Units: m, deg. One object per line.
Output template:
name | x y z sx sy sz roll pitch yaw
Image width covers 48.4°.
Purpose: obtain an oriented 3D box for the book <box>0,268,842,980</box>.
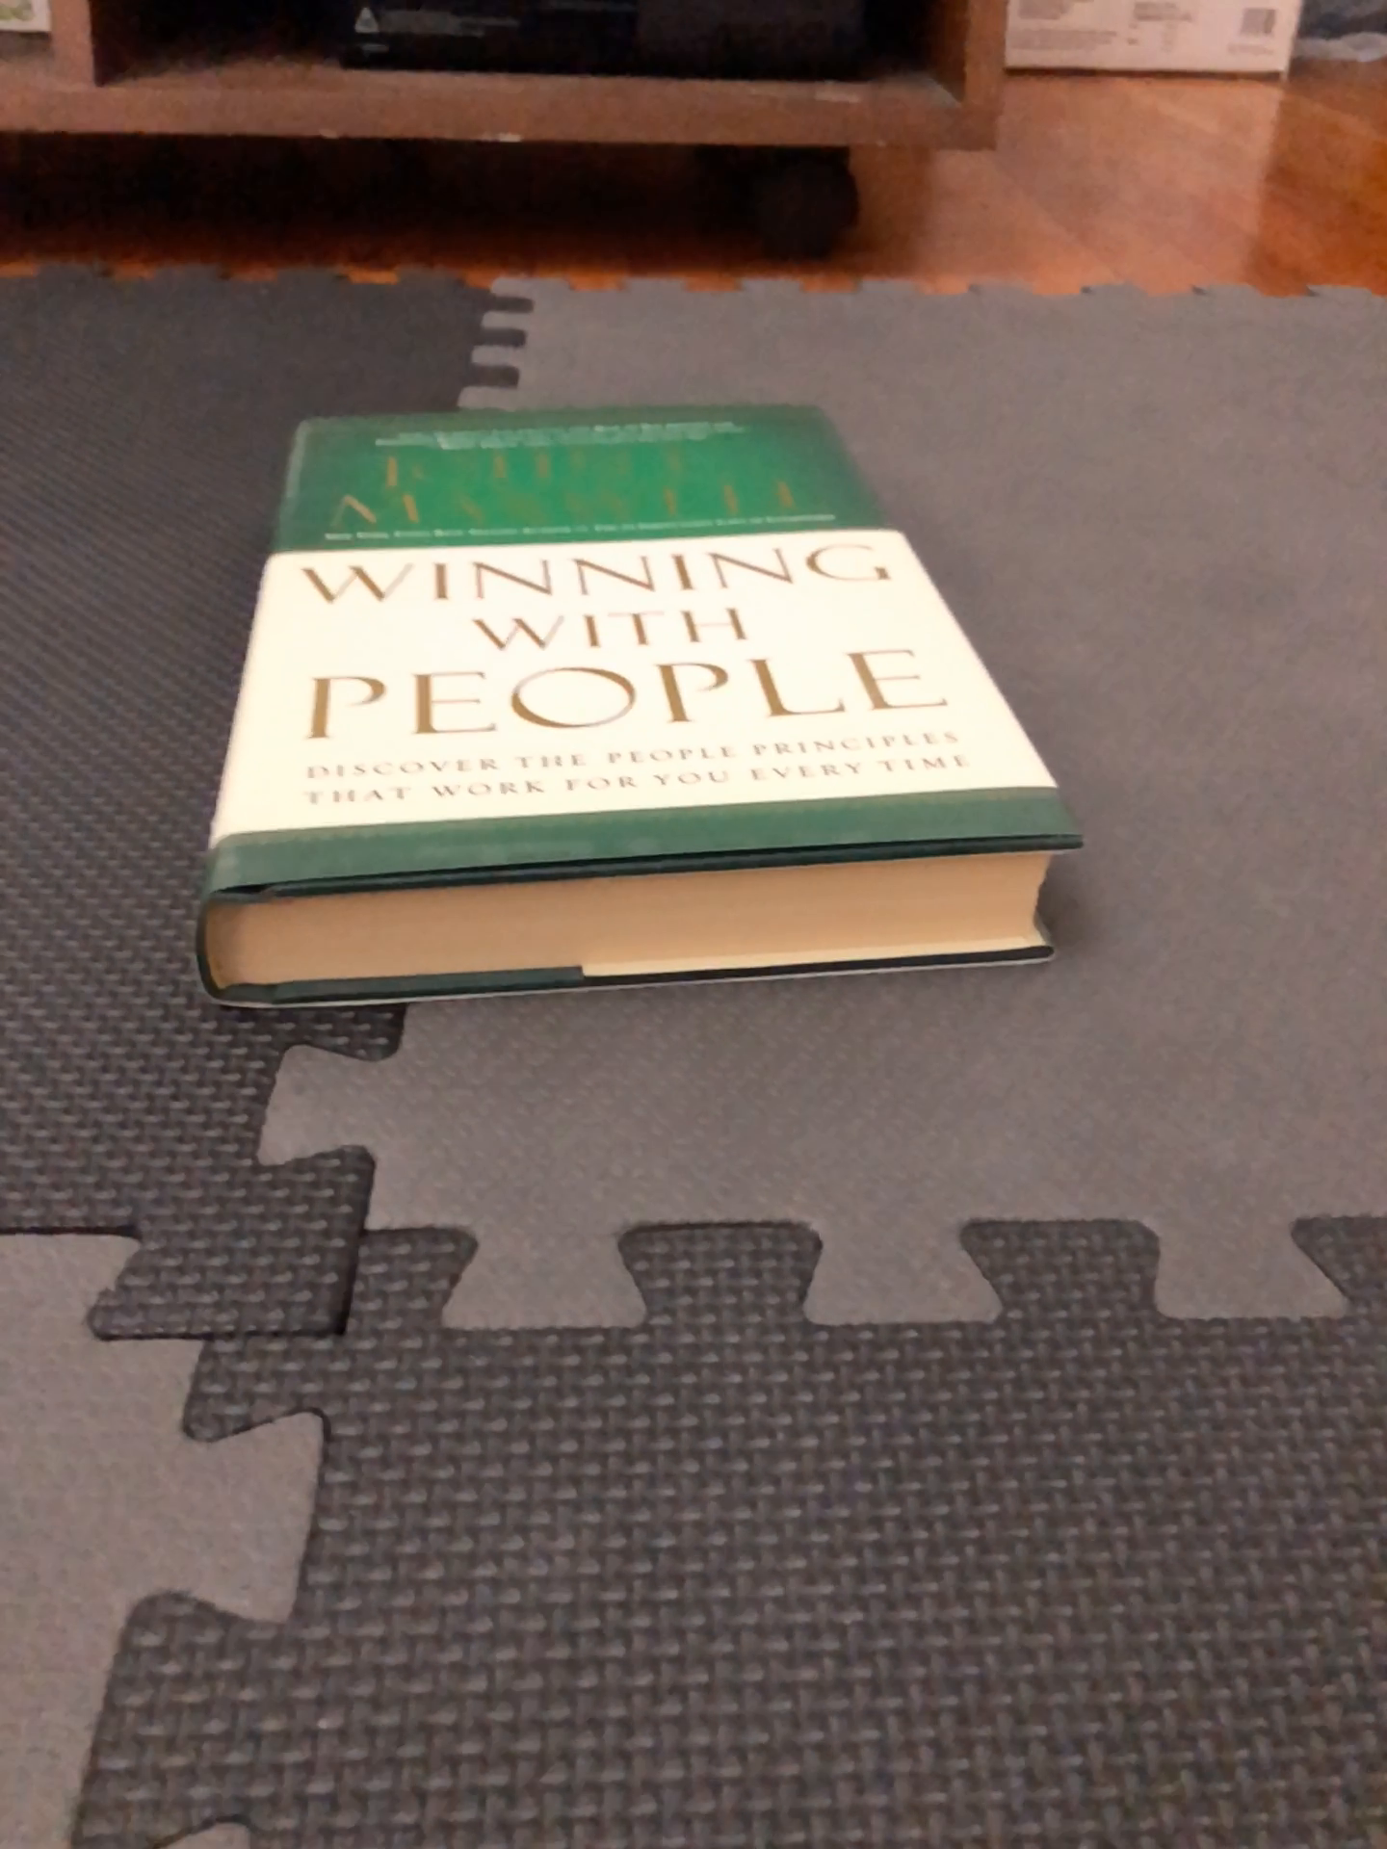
book | -0.092 -0.093 0.337 0.200 0.030 0.292 -2 36 -5
